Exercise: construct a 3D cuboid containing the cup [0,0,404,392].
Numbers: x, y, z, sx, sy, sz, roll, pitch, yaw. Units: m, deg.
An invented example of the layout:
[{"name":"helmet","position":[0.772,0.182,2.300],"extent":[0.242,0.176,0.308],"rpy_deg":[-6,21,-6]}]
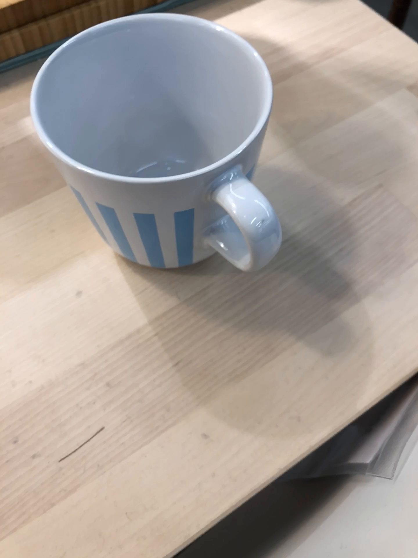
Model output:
[{"name":"cup","position":[-0.011,-0.038,0.182],"extent":[0.080,0.080,0.120],"rpy_deg":[-31,66,-14]}]
